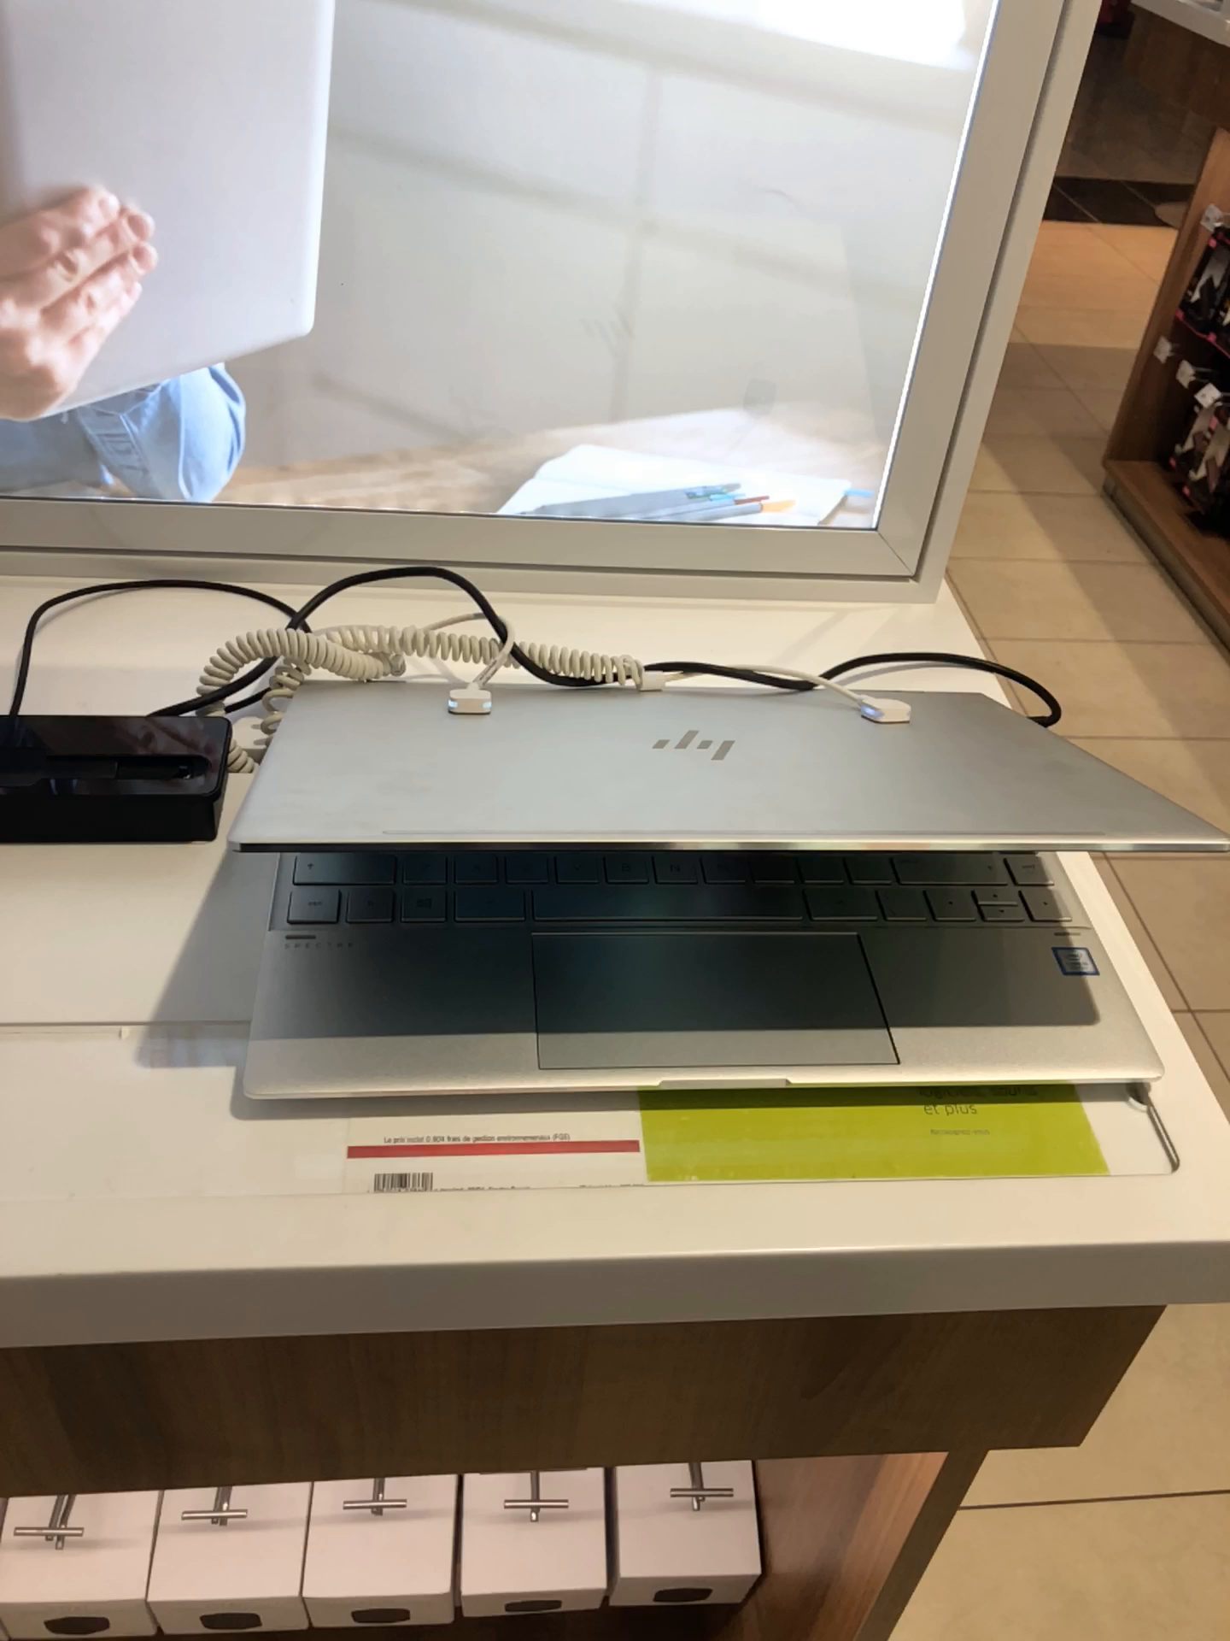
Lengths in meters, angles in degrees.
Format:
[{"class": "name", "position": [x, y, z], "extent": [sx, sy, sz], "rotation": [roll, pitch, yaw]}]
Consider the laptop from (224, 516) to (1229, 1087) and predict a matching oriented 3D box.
[{"class": "laptop", "position": [0.029, -0.016, 0.488], "extent": [0.298, 0.078, 0.212], "rotation": [1, 41, -7]}]
